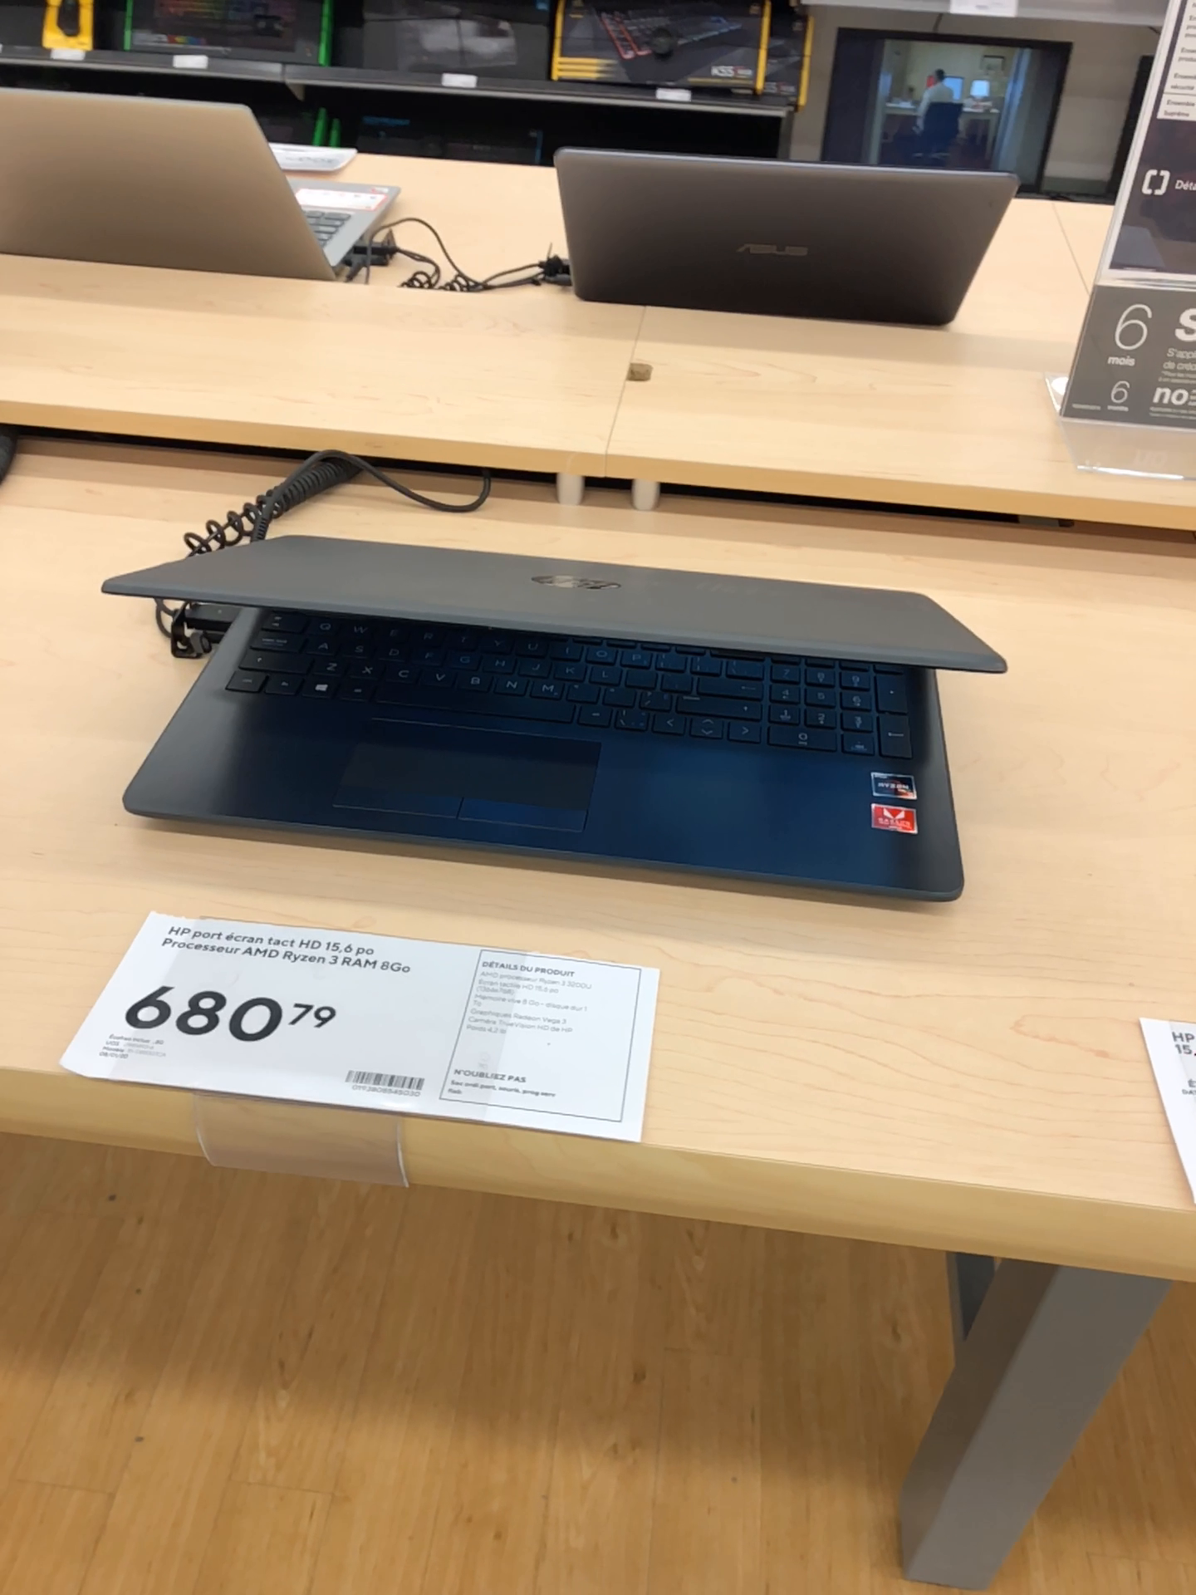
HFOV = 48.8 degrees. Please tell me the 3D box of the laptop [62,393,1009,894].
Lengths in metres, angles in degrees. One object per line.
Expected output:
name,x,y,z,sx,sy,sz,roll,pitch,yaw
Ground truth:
laptop,-0.012,-0.087,0.627,0.366,0.090,0.243,6,39,3
